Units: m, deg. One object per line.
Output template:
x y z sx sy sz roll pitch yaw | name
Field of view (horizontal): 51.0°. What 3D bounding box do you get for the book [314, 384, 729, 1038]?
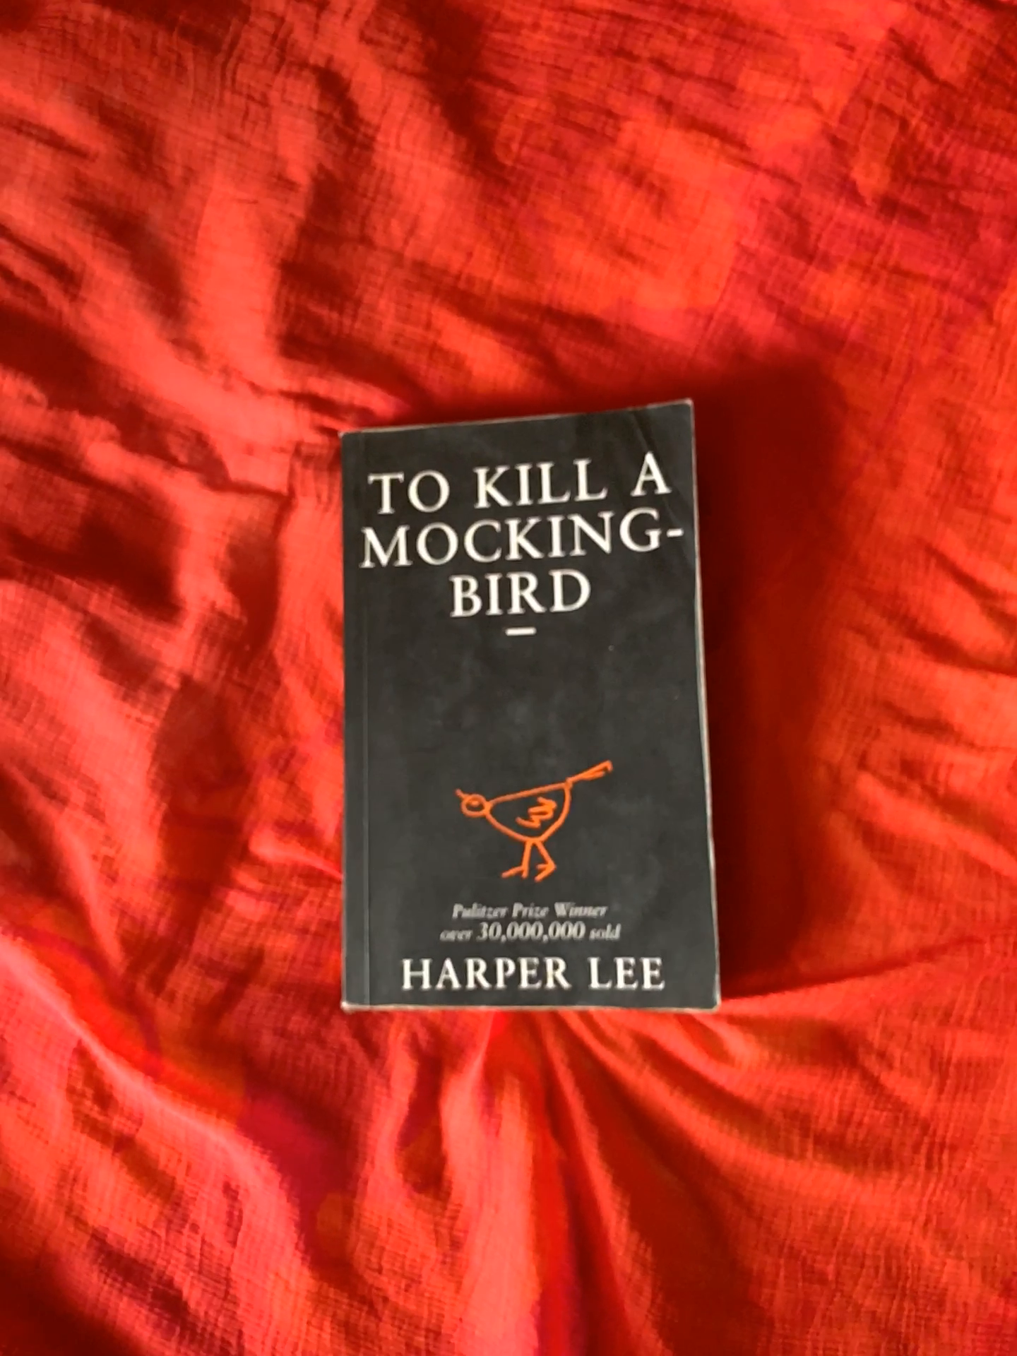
0.003 0.010 0.321 0.110 0.040 0.180 -3 84 5 | book
